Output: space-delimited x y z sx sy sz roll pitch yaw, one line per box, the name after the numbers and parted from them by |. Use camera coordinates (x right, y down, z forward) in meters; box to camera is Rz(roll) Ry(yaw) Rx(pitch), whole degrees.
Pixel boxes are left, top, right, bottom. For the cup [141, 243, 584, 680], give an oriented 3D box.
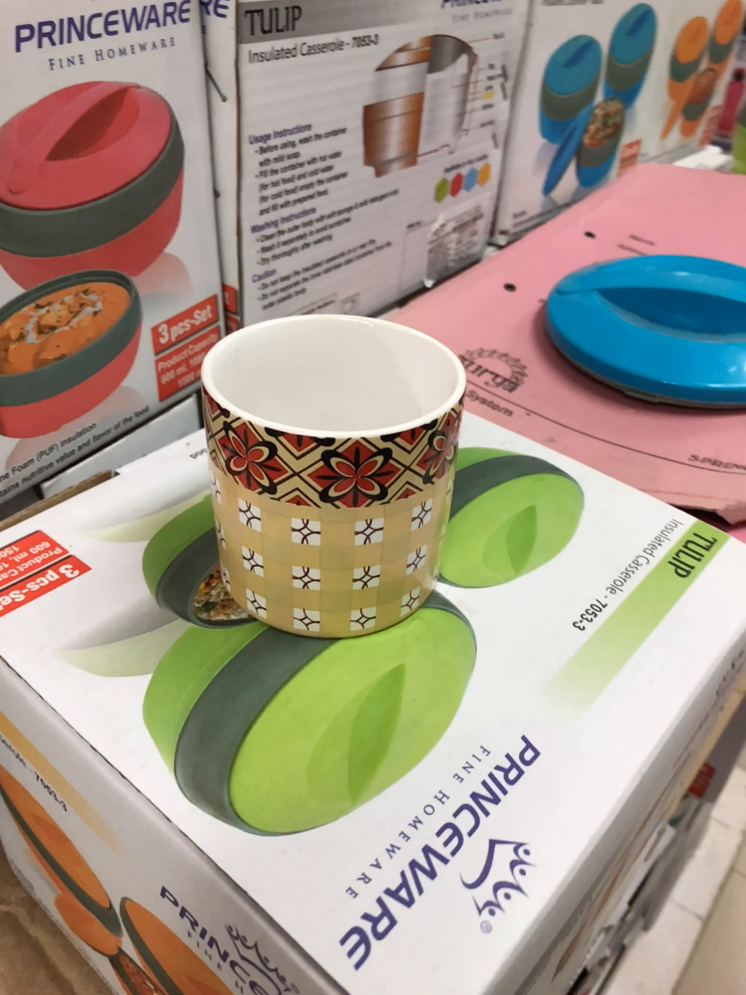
0.000 -0.020 0.270 0.080 0.079 0.111 26 41 29 | cup
